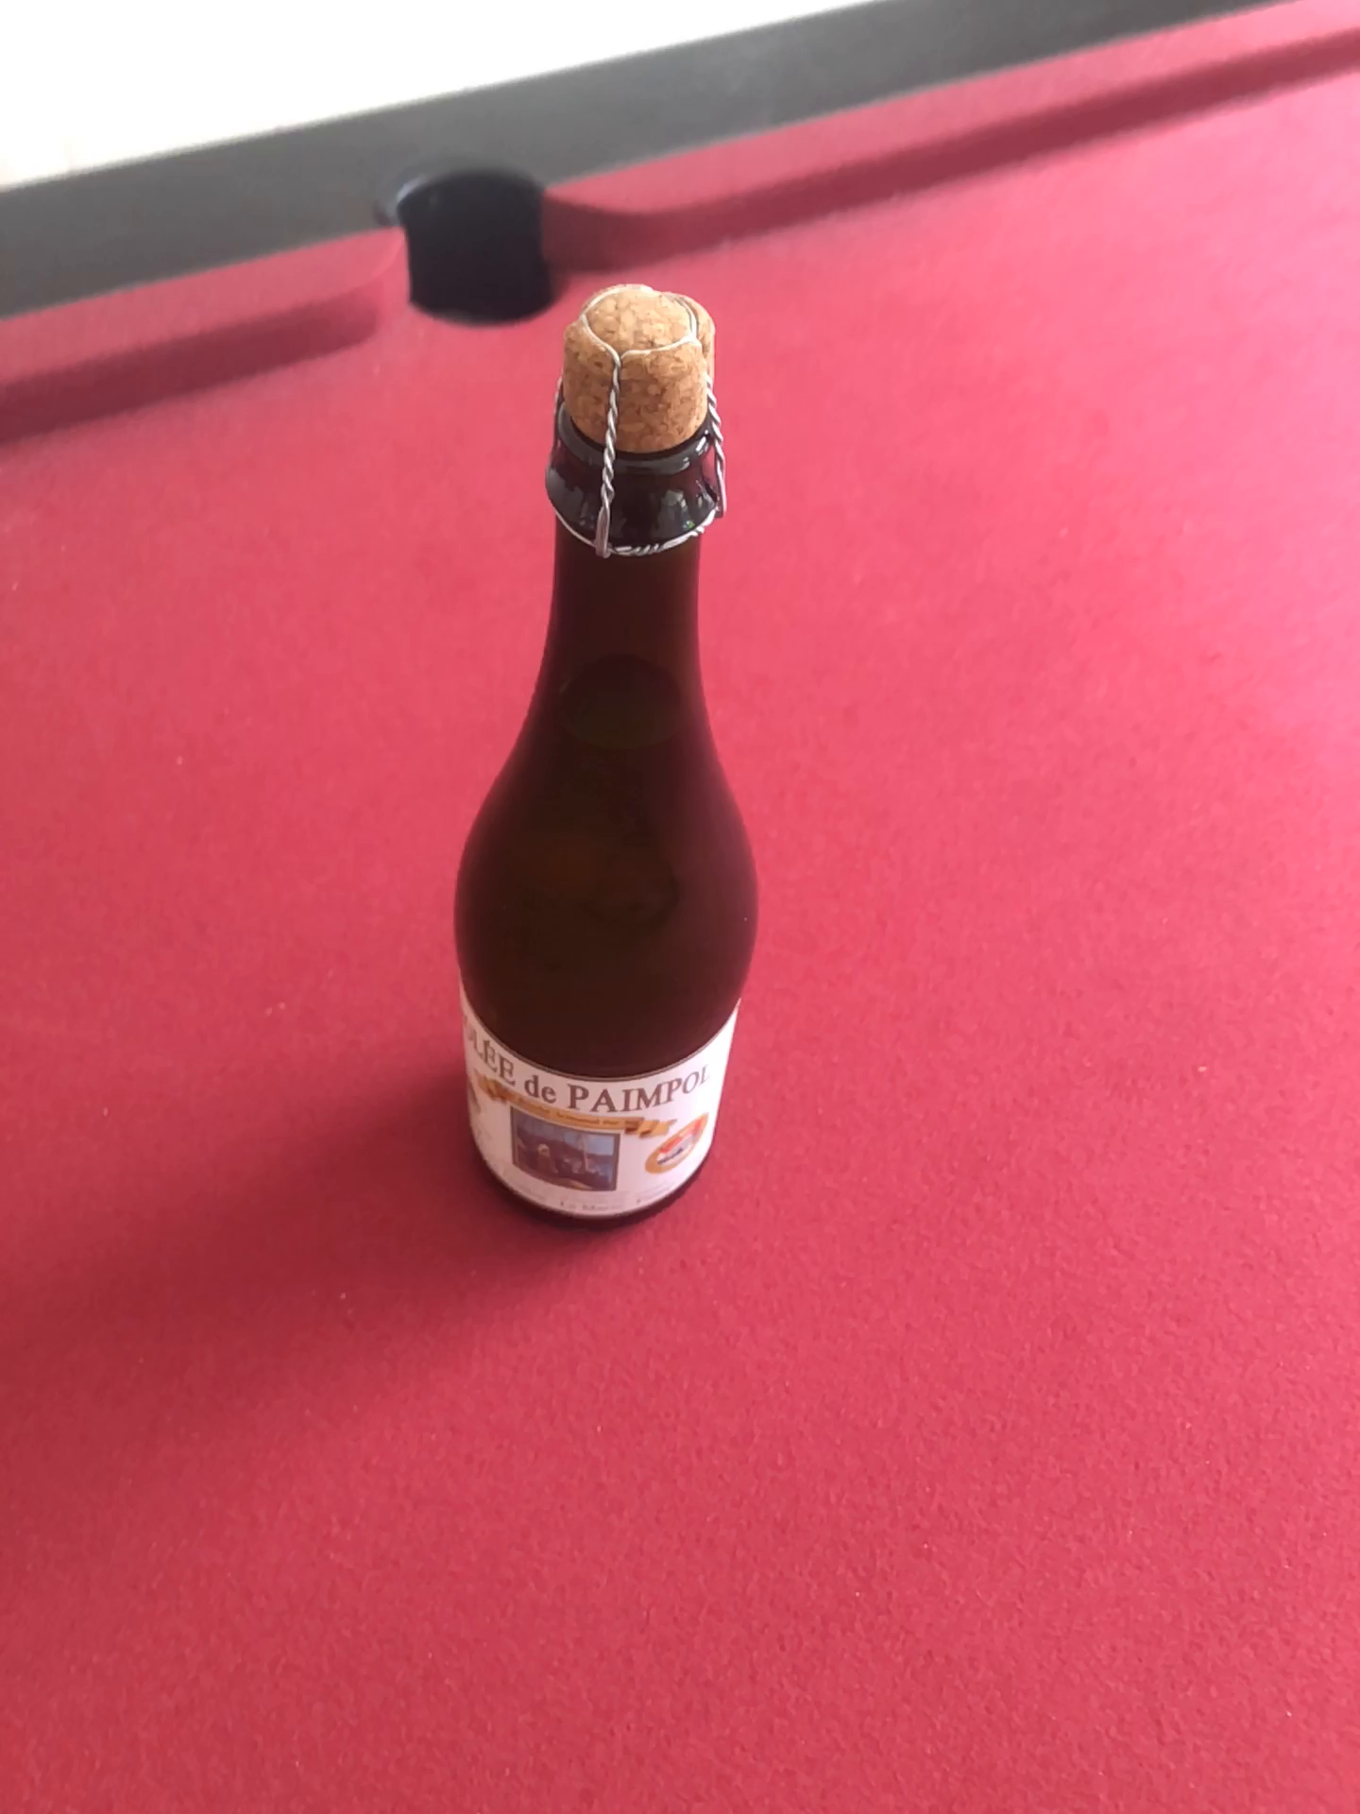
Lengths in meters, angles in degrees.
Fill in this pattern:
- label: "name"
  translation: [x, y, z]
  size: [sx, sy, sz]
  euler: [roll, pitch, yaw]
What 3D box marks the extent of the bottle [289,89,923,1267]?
- label: "bottle"
  translation: [-0.018, -0.021, 0.376]
  size: [0.090, 0.298, 0.101]
  euler: [10, 55, 1]
